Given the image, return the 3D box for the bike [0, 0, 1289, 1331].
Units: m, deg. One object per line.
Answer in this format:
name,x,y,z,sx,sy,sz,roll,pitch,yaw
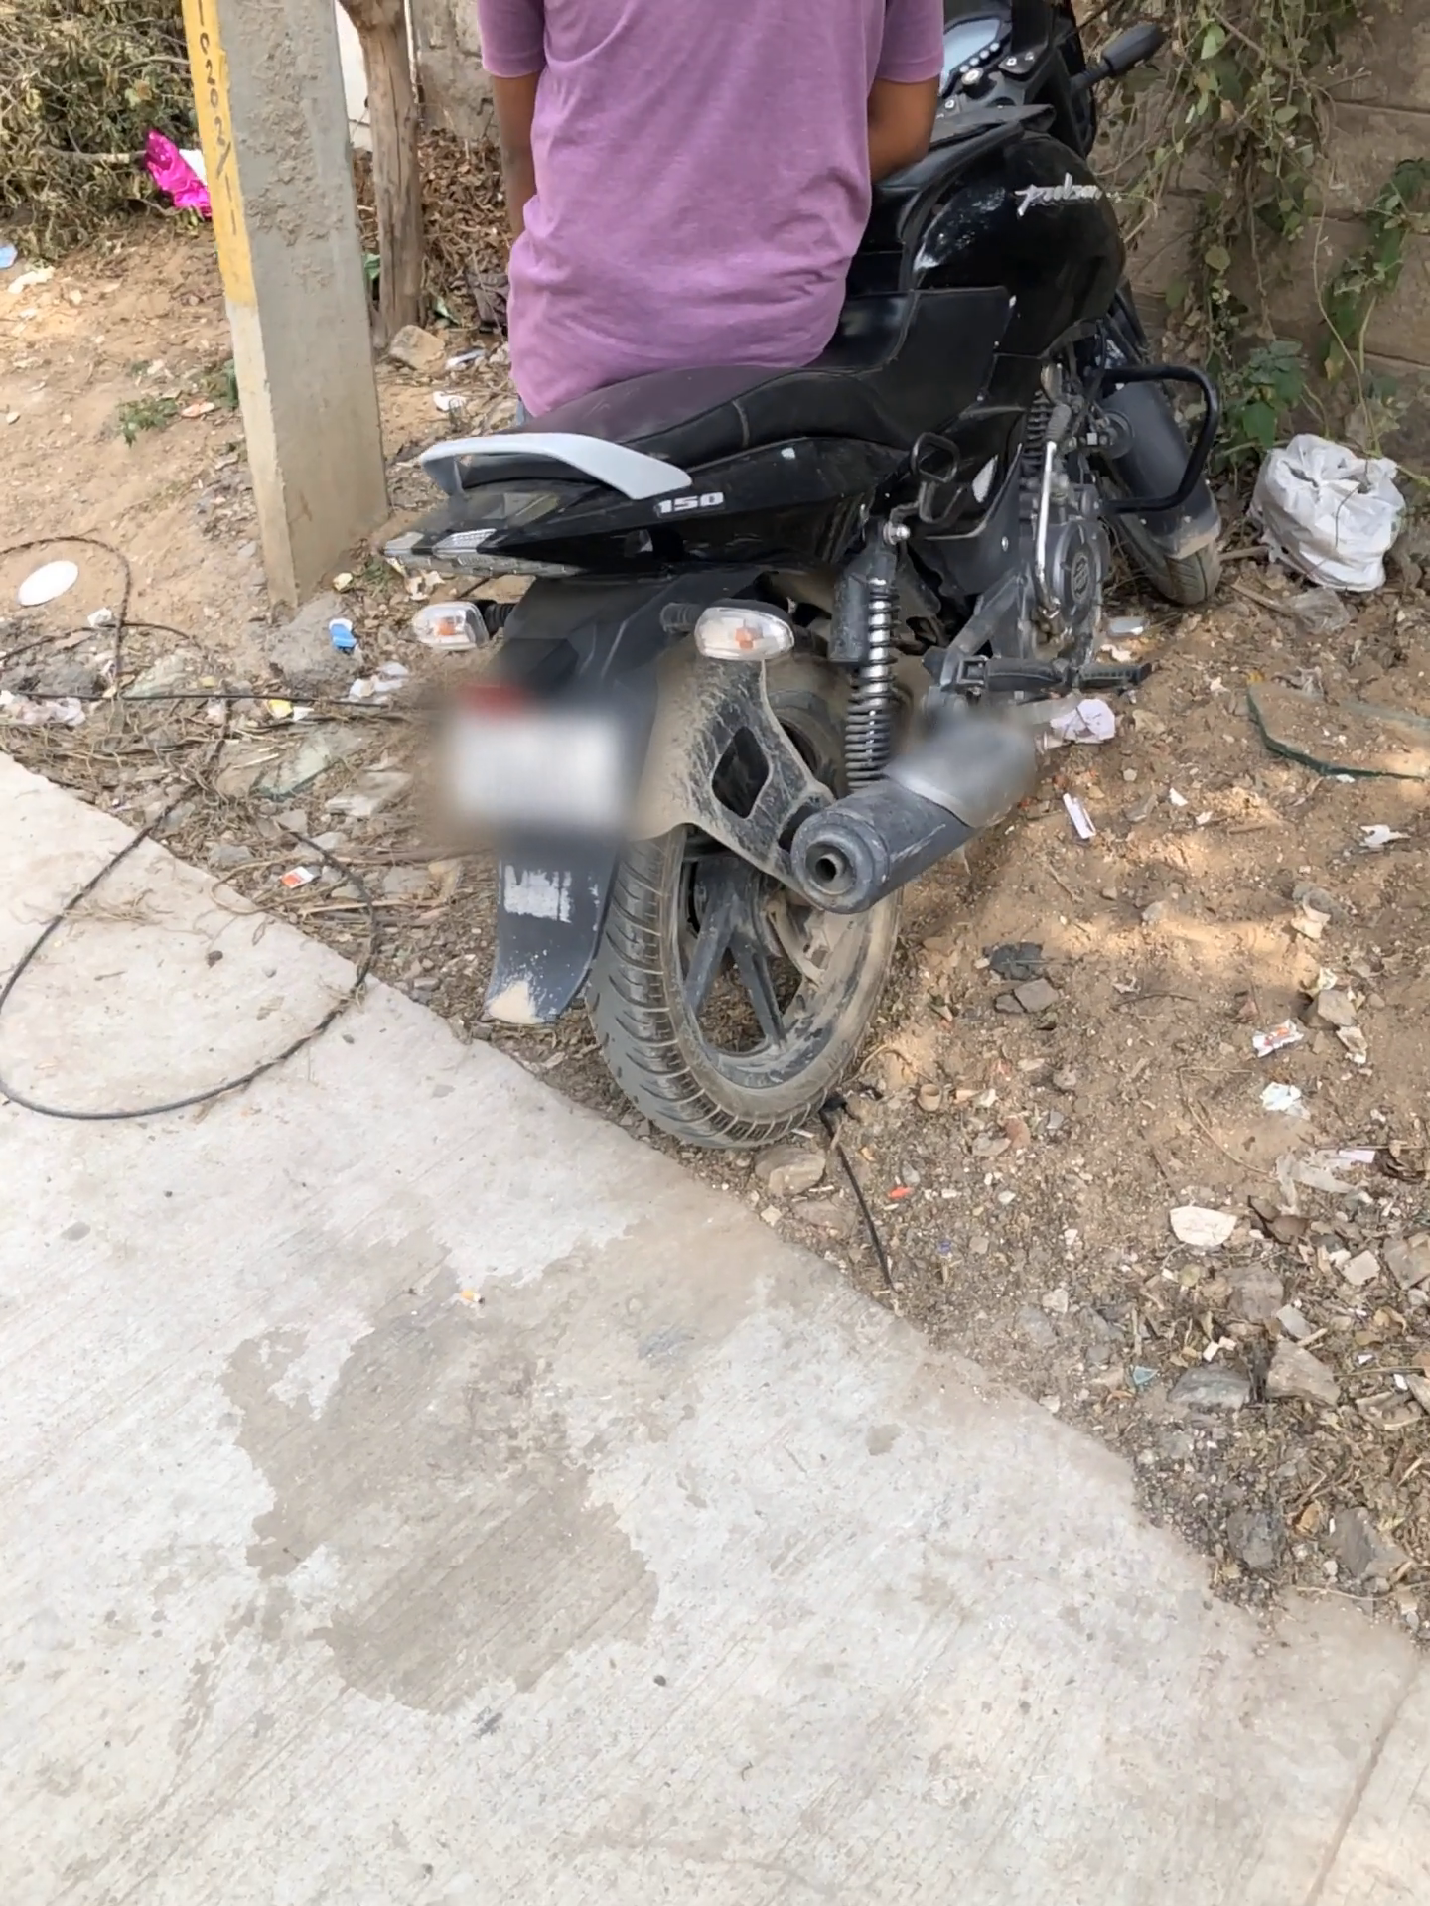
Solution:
bike,0.119,-0.757,2.082,0.813,1.215,1.824,13,43,18
